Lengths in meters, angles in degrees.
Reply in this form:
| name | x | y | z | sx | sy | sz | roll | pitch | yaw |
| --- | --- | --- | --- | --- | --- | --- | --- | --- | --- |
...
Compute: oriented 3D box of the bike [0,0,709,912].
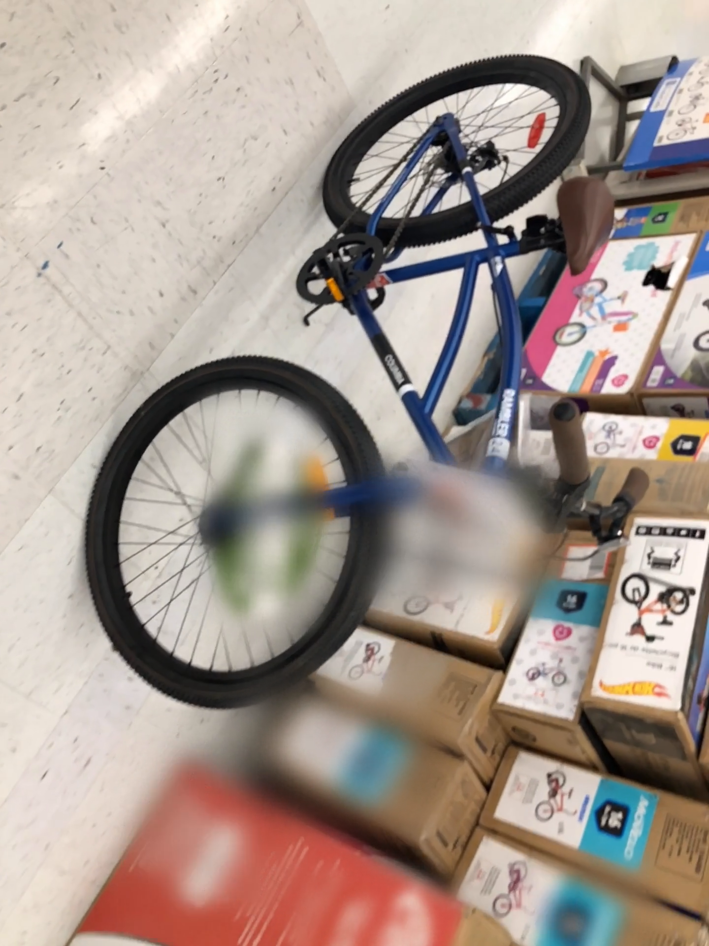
| name | x | y | z | sx | sy | sz | roll | pitch | yaw |
| --- | --- | --- | --- | --- | --- | --- | --- | --- | --- |
| bike | 0.191 | -0.249 | 1.478 | 0.651 | 0.928 | 1.554 | 46 | 61 | -44 |
